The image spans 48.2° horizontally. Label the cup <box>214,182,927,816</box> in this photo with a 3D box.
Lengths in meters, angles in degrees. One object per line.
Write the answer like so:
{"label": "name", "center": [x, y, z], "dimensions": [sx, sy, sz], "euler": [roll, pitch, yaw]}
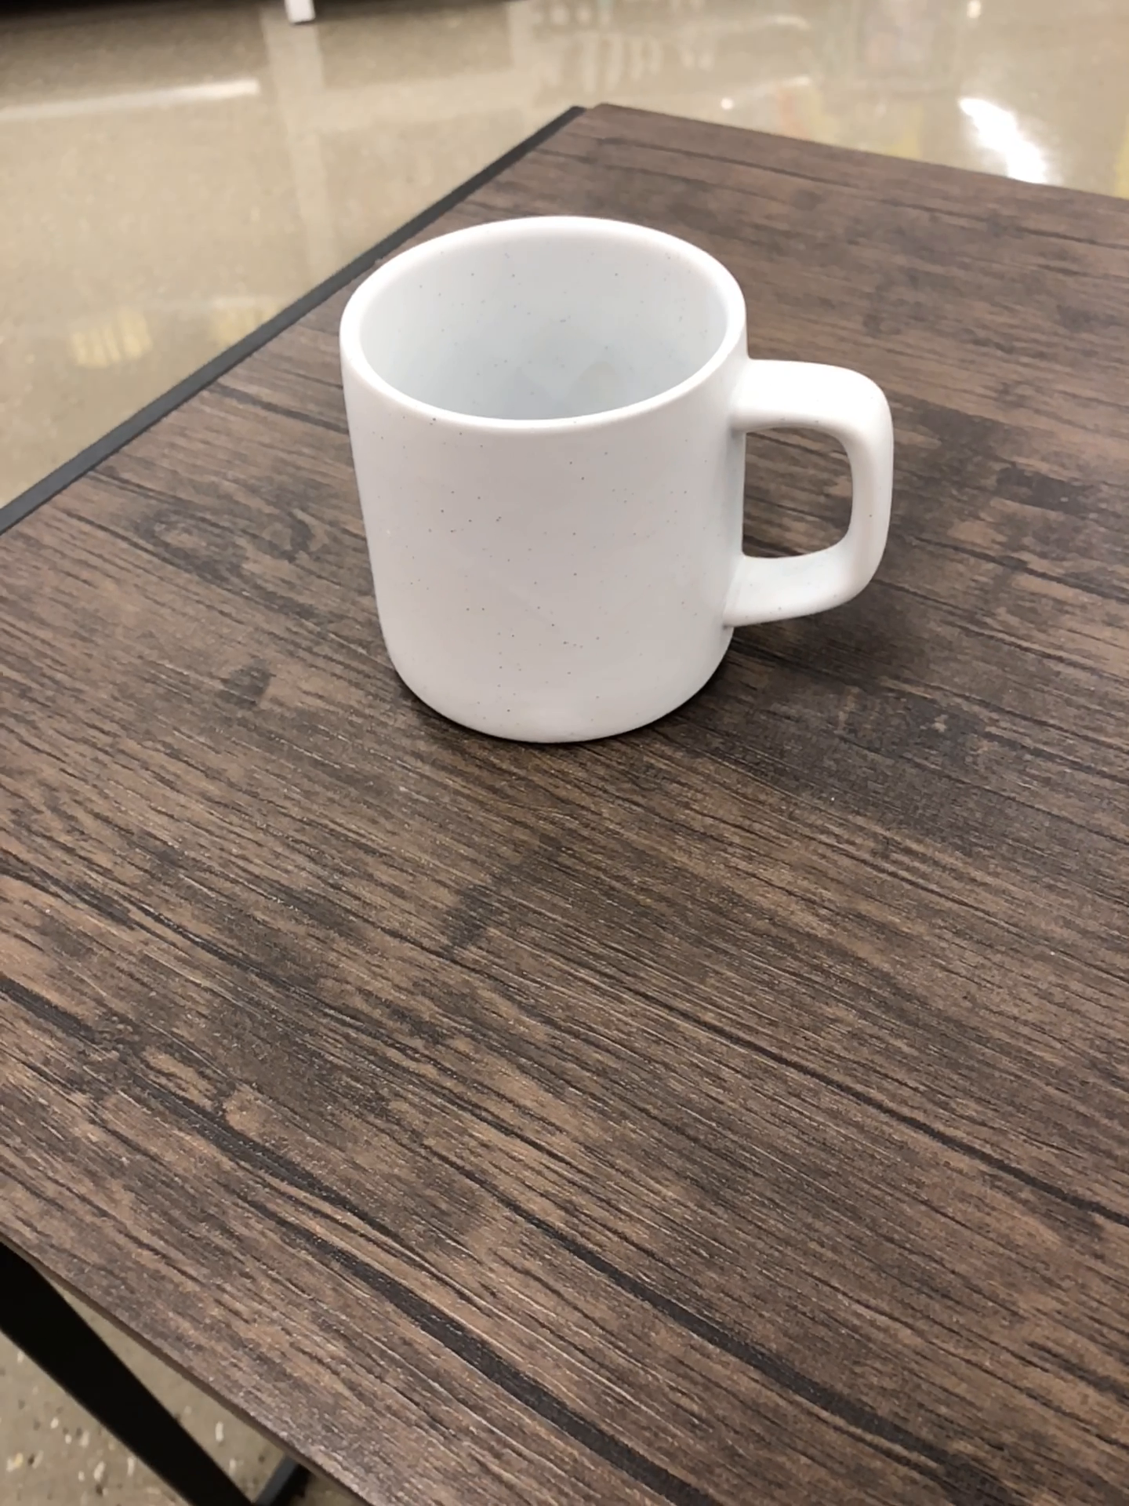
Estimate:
{"label": "cup", "center": [0.008, -0.062, 0.299], "dimensions": [0.130, 0.100, 0.090], "euler": [9, 48, 12]}
